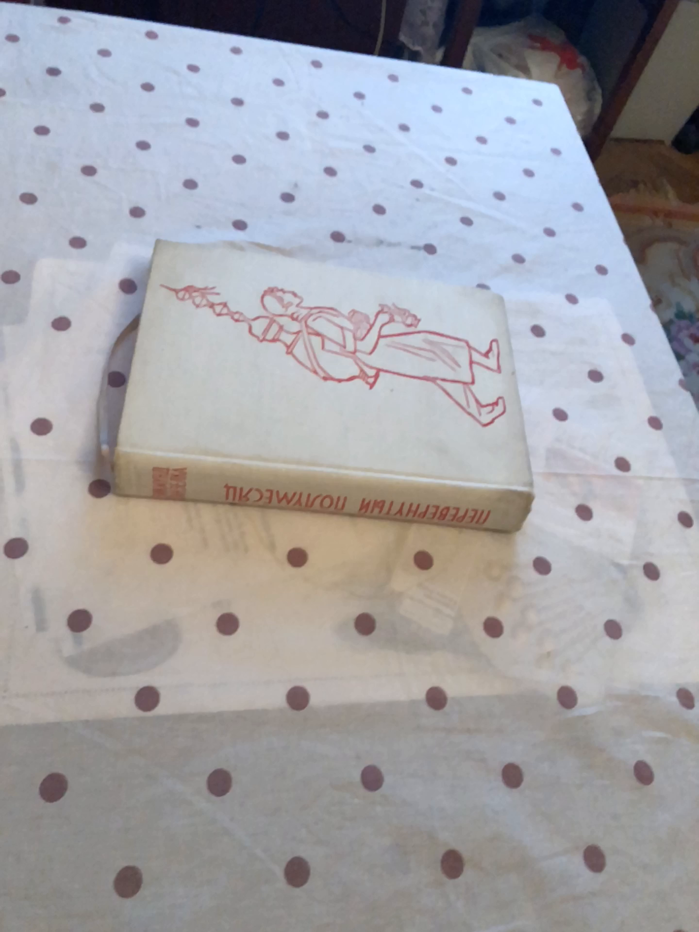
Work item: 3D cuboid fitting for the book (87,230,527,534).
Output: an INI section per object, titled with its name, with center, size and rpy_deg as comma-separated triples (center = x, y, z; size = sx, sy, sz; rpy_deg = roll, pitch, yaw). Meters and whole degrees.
[book]
center = -0.024, -0.054, 0.486
size = 0.240, 0.050, 0.175
rpy_deg = 5, 56, -9
